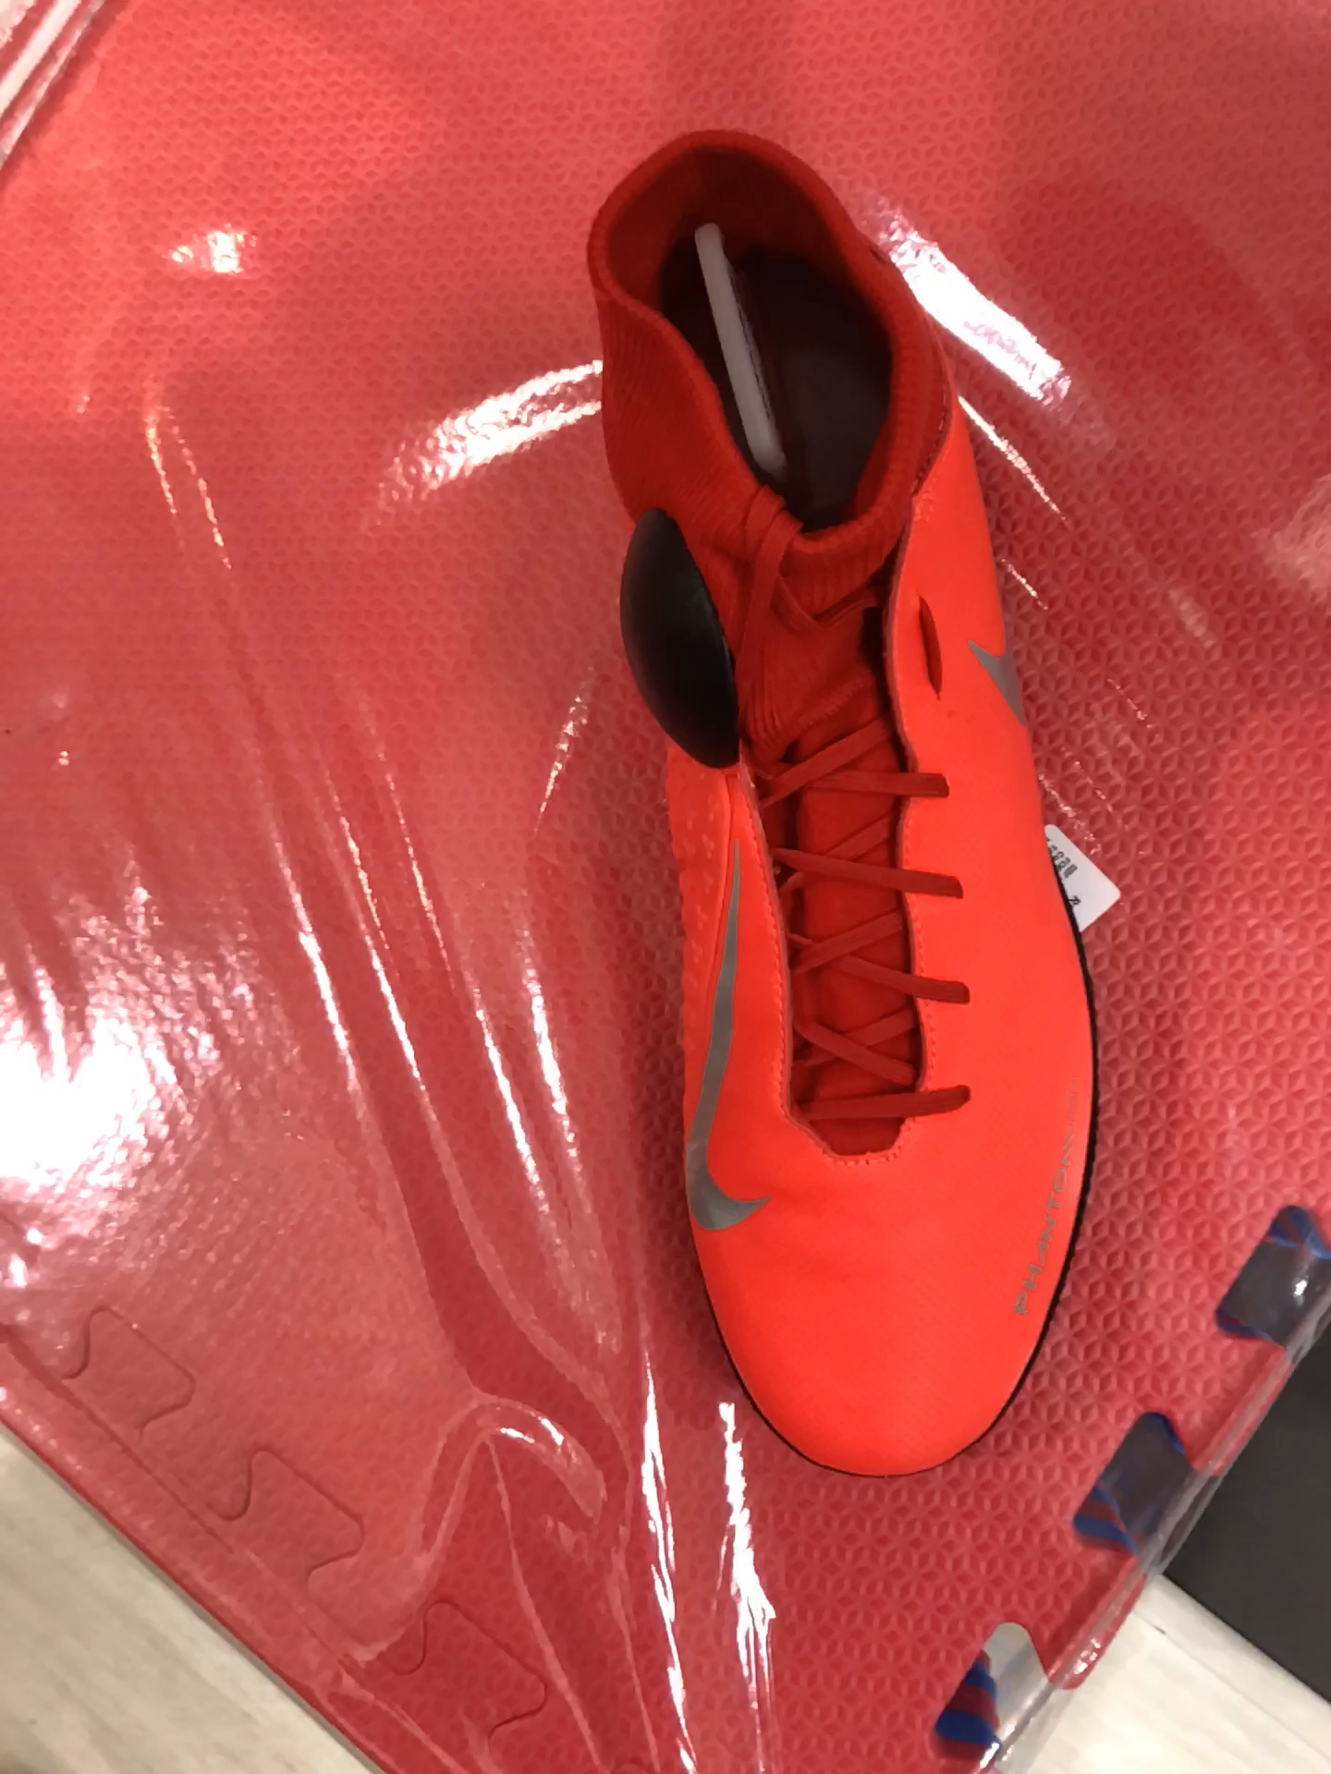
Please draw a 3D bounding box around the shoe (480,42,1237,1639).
[{"bbox_3d":[0.034,-0.006,0.294,0.090,0.120,0.250,-8,80,9],"label":"shoe"}]
